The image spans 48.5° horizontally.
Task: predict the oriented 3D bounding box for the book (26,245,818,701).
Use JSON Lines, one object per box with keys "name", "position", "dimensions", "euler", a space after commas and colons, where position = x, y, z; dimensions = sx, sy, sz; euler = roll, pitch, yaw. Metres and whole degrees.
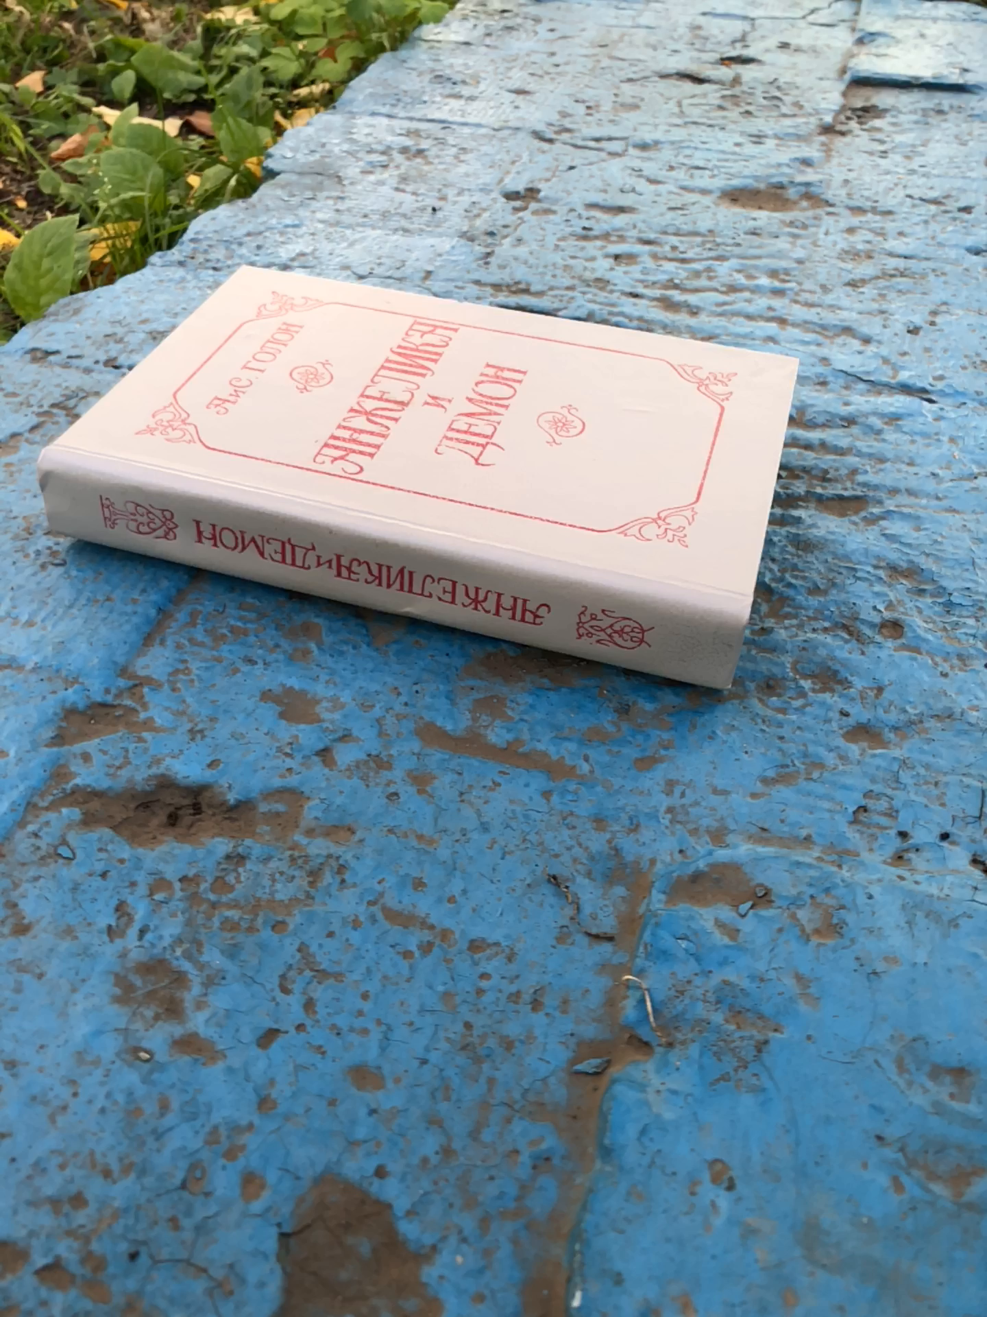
{"name": "book", "position": [-0.012, -0.071, 0.351], "dimensions": [0.211, 0.032, 0.141], "euler": [13, 46, 10]}
